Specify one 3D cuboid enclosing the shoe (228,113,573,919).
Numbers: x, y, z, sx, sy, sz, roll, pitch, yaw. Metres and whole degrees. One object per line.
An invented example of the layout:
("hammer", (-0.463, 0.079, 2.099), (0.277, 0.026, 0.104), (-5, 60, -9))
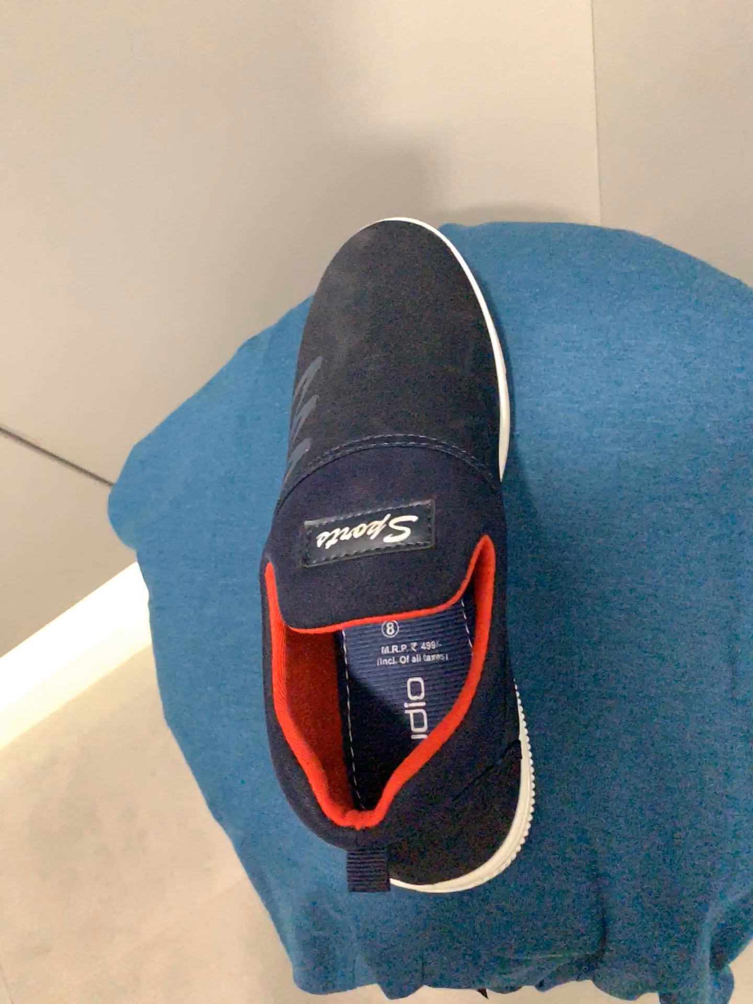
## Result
("shoe", (0.008, 0.004, 0.298), (0.090, 0.100, 0.260), (-9, 72, 15))
